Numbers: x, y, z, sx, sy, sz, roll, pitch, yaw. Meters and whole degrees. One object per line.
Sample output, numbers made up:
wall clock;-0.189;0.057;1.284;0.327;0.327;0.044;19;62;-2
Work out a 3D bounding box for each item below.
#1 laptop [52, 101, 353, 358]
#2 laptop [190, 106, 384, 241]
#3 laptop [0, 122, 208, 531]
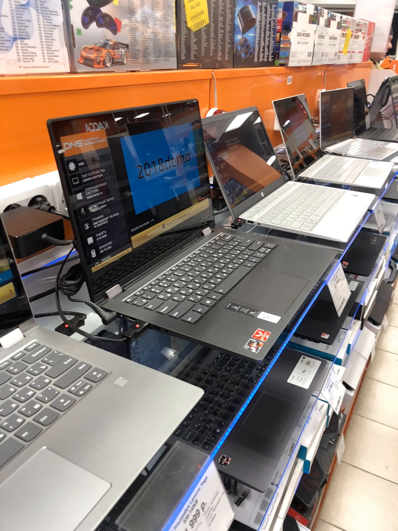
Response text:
laptop;0.028;-0.089;0.587;0.255;0.215;0.321;14;28;25
laptop;0.190;-0.217;0.914;0.310;0.161;0.317;16;29;24
laptop;-0.185;0.037;0.285;0.285;0.202;0.285;14;25;20
